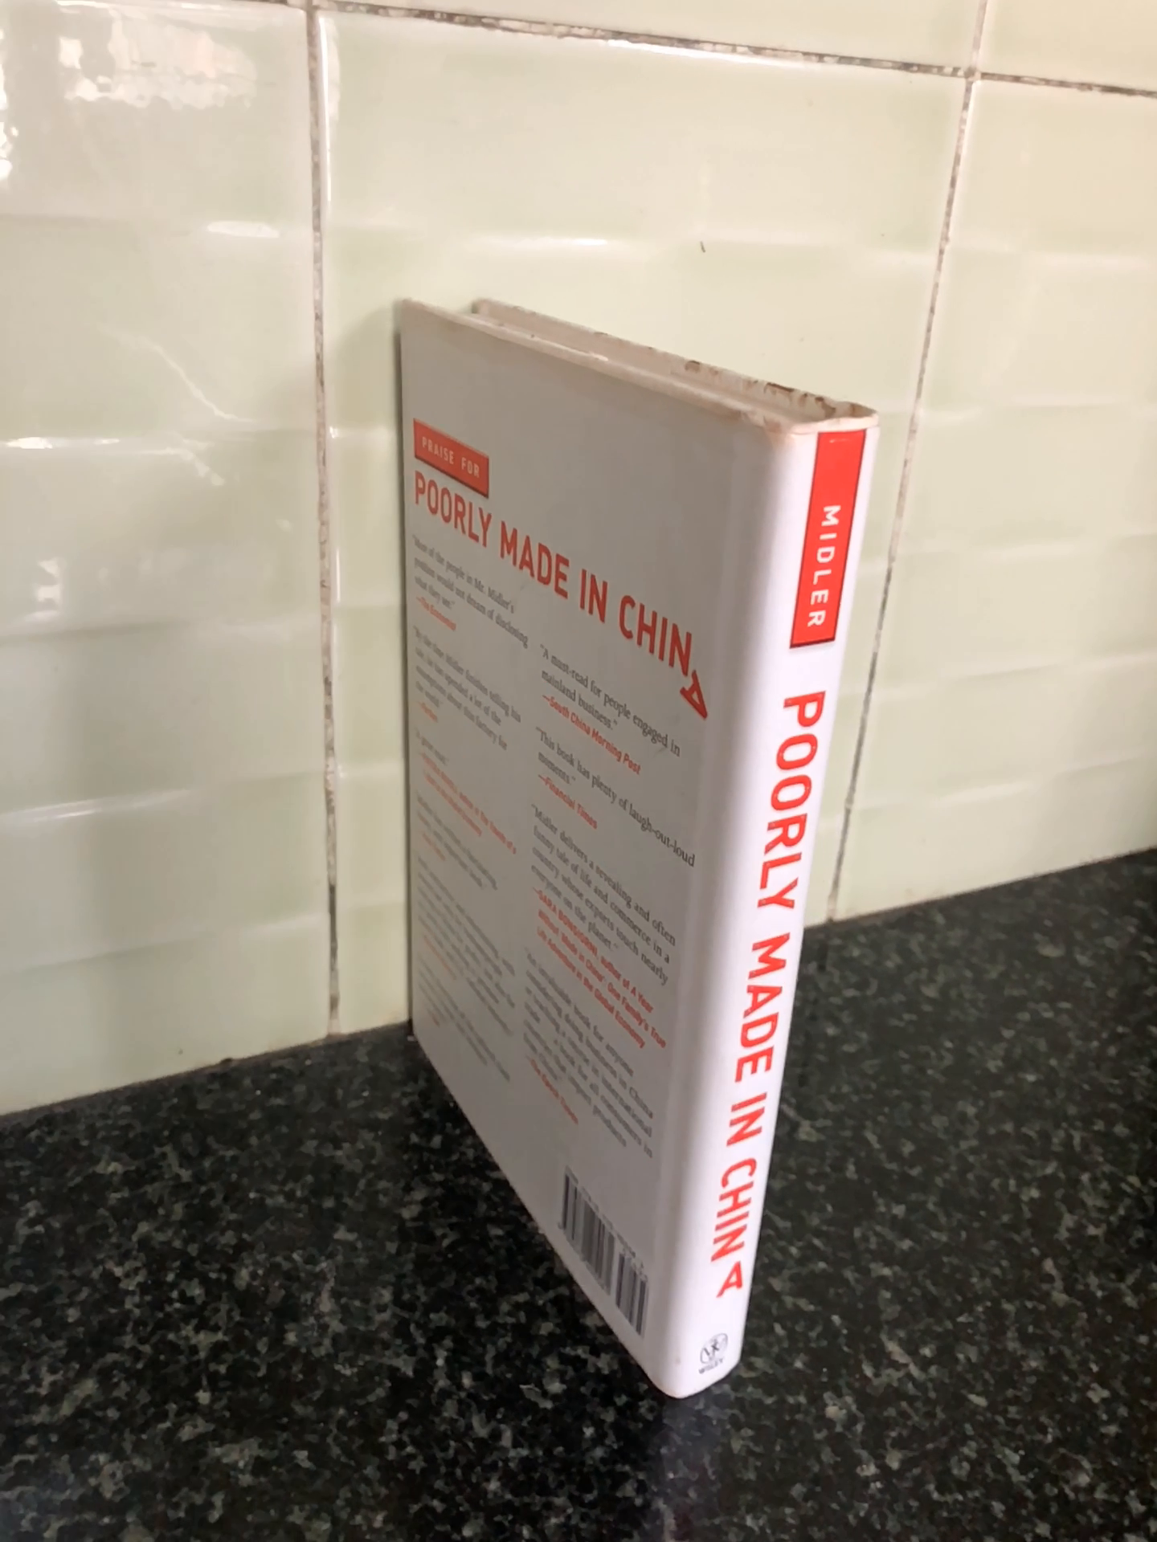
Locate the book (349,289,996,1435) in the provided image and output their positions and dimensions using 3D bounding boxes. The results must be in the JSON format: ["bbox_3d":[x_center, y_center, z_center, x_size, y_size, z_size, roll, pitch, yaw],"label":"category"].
[{"bbox_3d":[-0.003,0.007,0.324,0.040,0.219,0.191,-10,29,-29],"label":"book"}]
